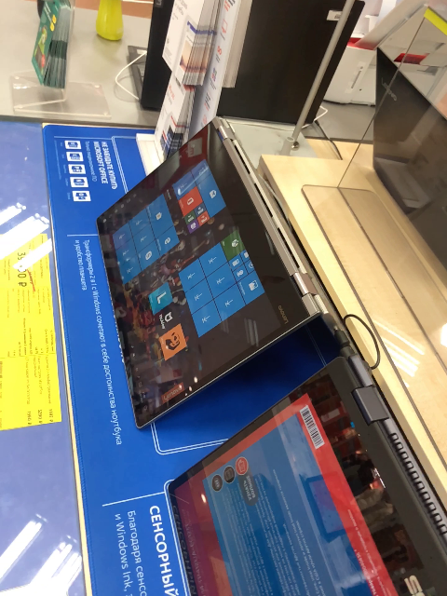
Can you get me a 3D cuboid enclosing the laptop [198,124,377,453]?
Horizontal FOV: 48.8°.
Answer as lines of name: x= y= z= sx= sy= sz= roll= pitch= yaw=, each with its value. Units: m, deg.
laptop: x=0.075 y=-0.002 z=0.694 sx=0.211 sy=0.150 sz=0.337 roll=24 pitch=34 yaw=-40
